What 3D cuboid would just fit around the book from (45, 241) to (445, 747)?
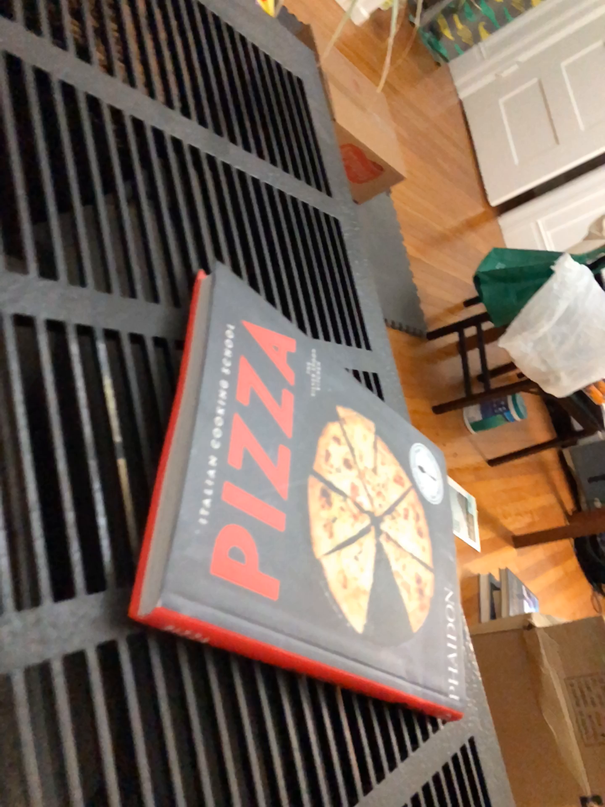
[{"bbox_3d":[0.001,0.057,0.331,0.231,0.020,0.180,36,45,-40],"label":"book"}]
